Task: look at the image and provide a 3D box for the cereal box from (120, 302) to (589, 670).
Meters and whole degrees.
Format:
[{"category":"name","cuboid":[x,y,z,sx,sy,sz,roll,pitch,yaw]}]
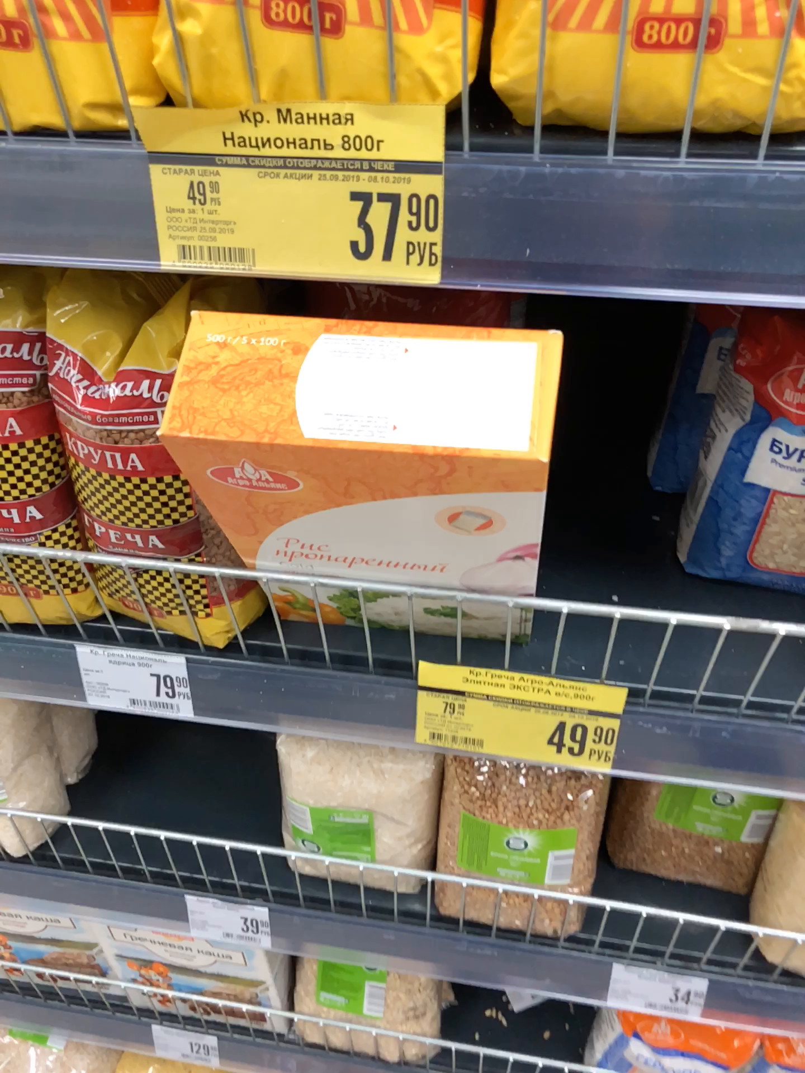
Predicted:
[{"category":"cereal box","cuboid":[-0.006,-0.007,0.364,0.140,0.189,0.060,5,67,8]}]
